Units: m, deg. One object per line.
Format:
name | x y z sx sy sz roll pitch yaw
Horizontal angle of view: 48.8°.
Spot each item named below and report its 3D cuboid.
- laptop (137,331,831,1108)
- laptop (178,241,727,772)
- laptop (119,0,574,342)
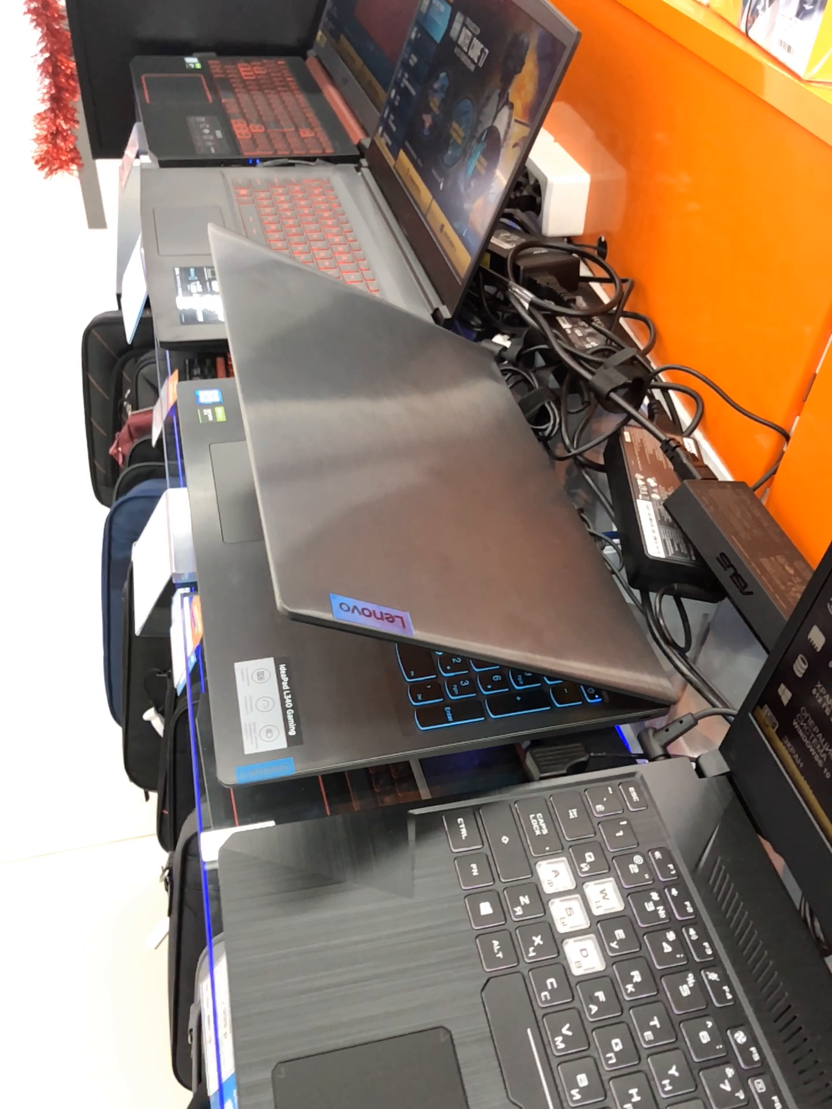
laptop | 0.089 0.153 0.238 0.277 0.250 0.385 -5 43 -11
laptop | -0.013 -0.062 0.568 0.240 0.118 0.349 -6 42 -12
laptop | -0.085 -0.403 0.842 0.325 0.228 0.350 -7 45 -13
